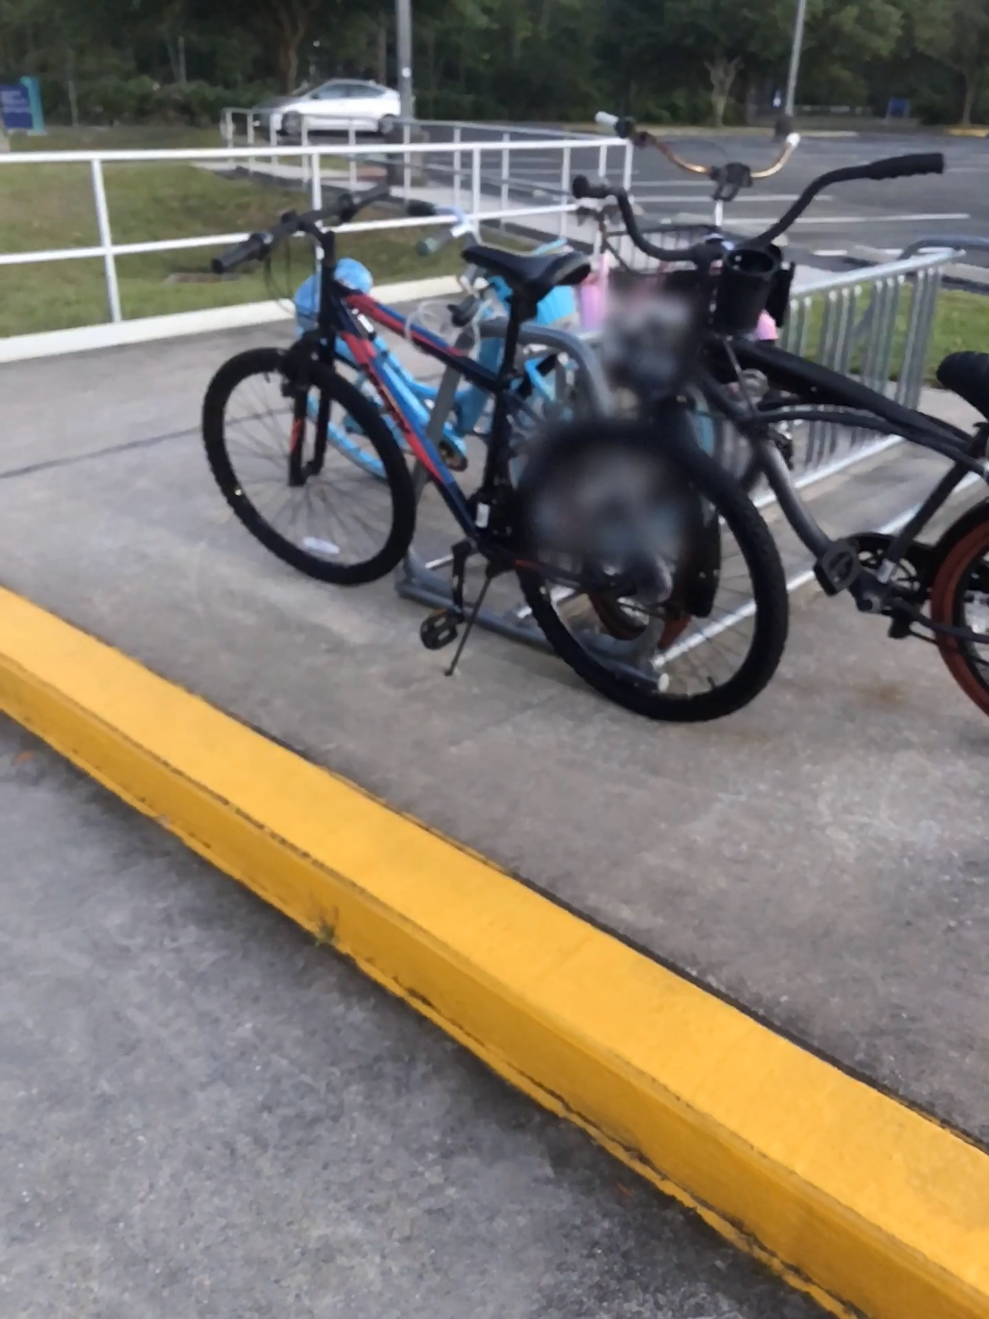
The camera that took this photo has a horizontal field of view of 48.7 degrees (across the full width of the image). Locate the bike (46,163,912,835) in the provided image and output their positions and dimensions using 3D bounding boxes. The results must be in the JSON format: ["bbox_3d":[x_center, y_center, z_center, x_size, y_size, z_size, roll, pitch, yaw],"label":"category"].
[{"bbox_3d":[-0.125,-0.478,2.319,1.633,0.932,0.626,21,33,33],"label":"bike"}]
